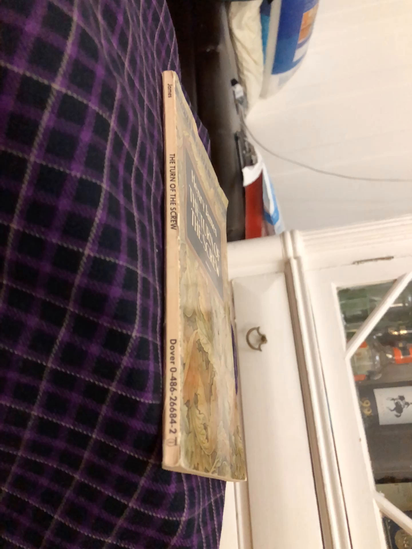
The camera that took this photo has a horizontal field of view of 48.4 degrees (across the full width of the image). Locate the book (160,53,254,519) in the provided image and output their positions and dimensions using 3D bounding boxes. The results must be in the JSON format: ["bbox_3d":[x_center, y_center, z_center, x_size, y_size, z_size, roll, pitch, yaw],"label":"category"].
[{"bbox_3d":[0.002,0.010,0.260,0.140,0.010,0.220,62,22,-62],"label":"book"}]
